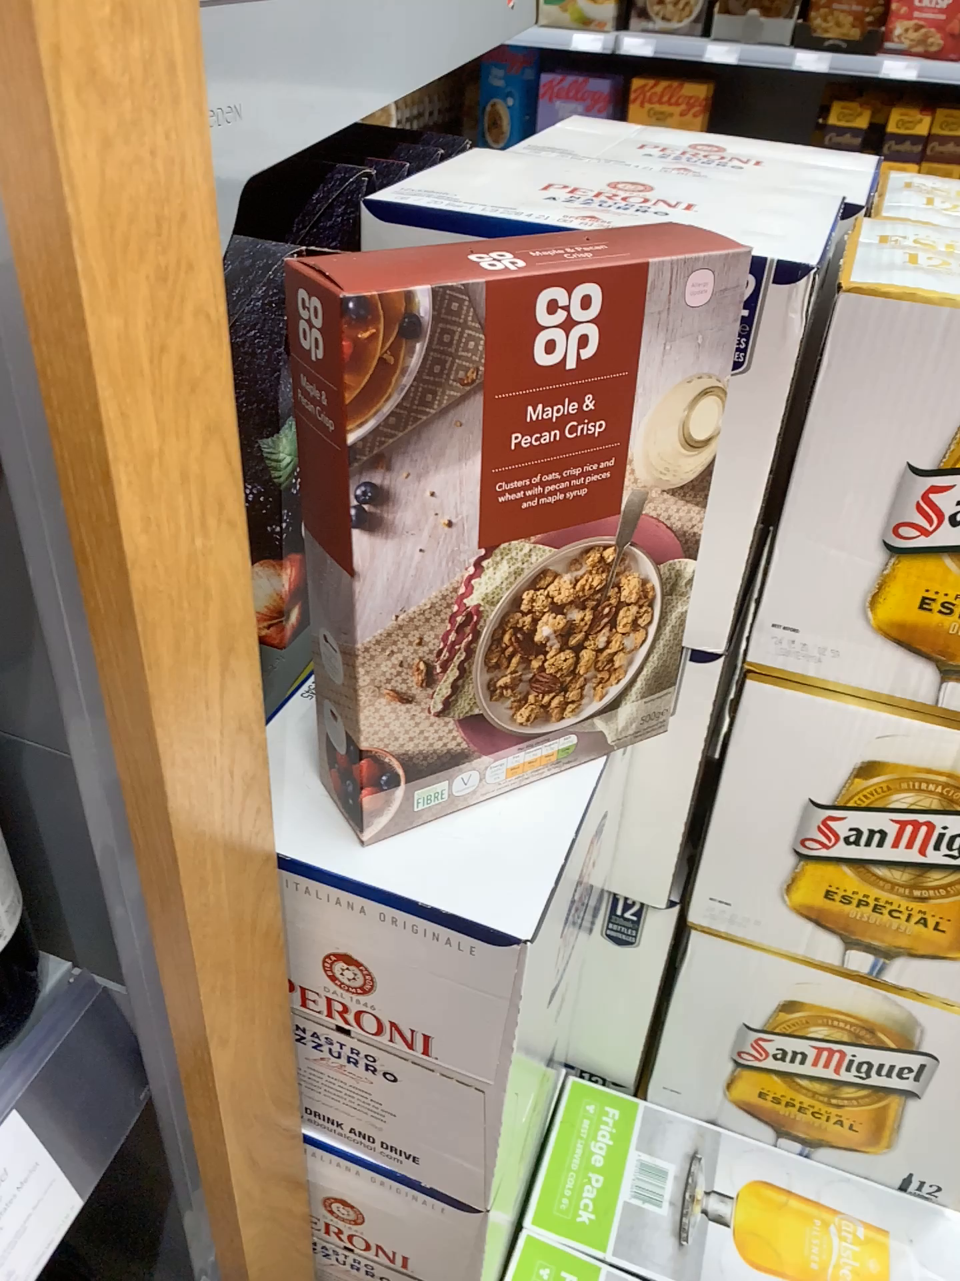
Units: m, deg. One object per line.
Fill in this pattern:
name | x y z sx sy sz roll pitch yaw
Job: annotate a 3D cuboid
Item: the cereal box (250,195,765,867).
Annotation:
cereal box | 0.011 -0.045 0.420 0.181 0.248 0.060 -17 38 -27
